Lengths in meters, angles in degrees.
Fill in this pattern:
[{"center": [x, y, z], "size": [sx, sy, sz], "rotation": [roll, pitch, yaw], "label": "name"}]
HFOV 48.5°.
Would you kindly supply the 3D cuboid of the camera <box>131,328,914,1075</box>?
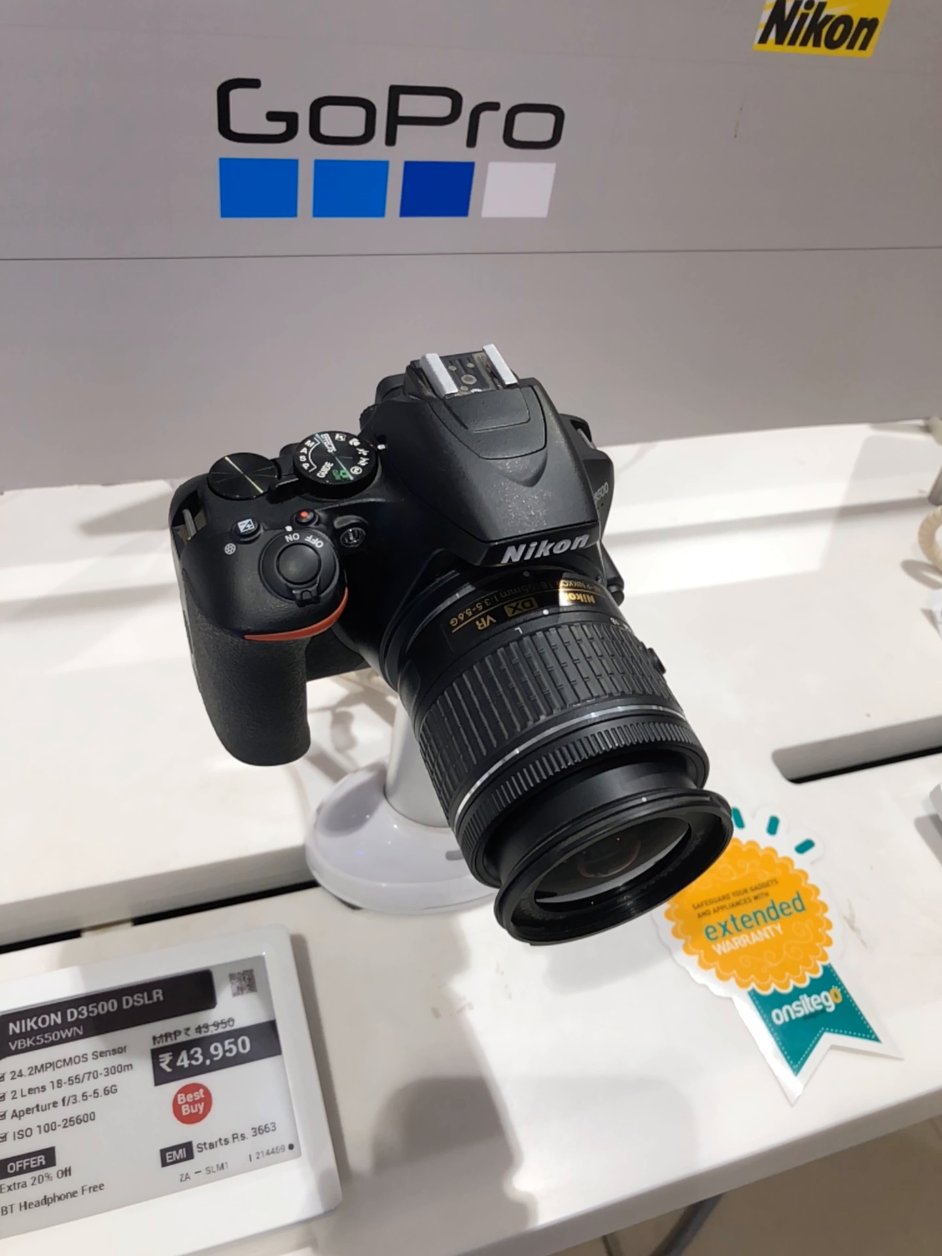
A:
[{"center": [-0.001, 0.007, 0.242], "size": [0.120, 0.089, 0.121], "rotation": [-12, 49, -22], "label": "camera"}]
